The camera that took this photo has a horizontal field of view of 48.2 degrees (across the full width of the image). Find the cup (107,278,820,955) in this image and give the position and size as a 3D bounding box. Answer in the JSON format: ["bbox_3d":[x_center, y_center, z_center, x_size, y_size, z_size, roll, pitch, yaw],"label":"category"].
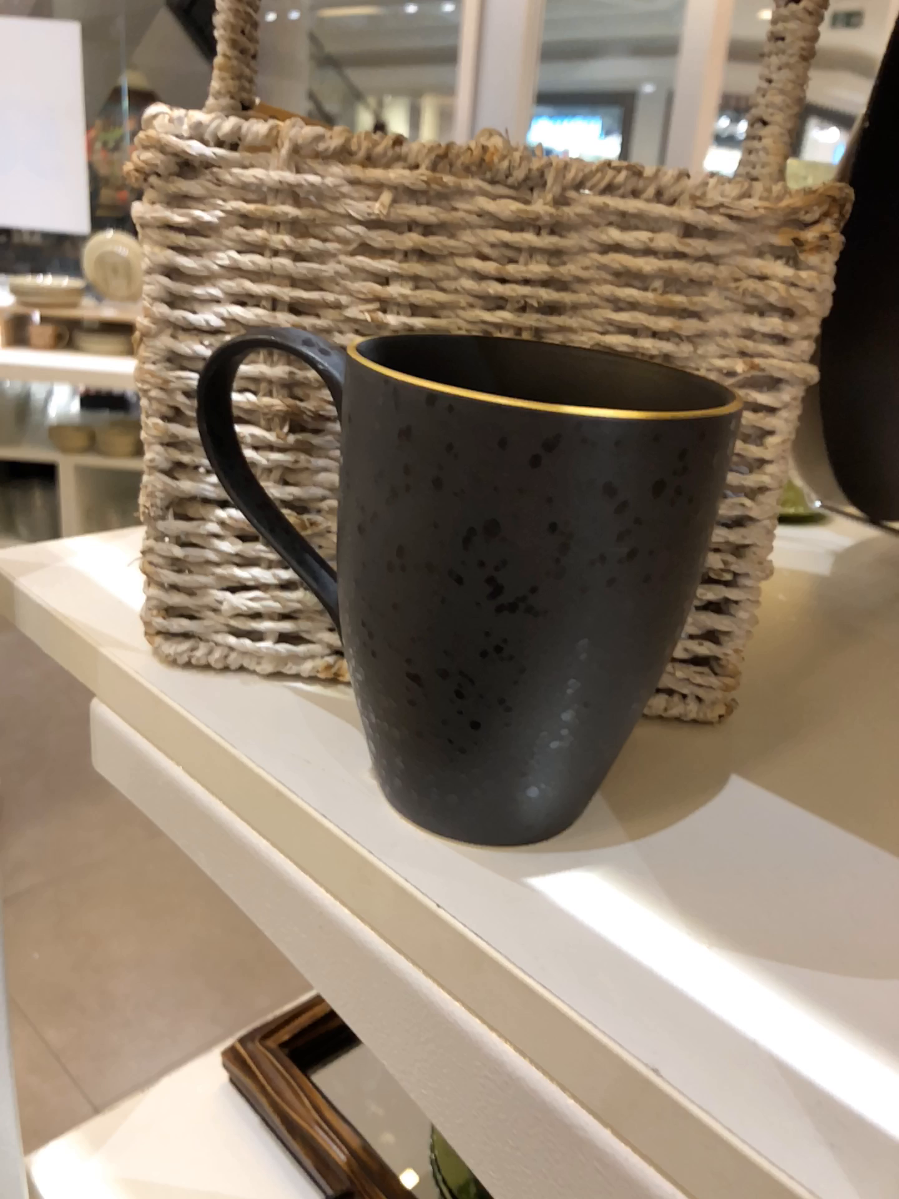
[{"bbox_3d":[-0.002,-0.012,0.220,0.120,0.099,0.080,20,26,33],"label":"cup"}]
